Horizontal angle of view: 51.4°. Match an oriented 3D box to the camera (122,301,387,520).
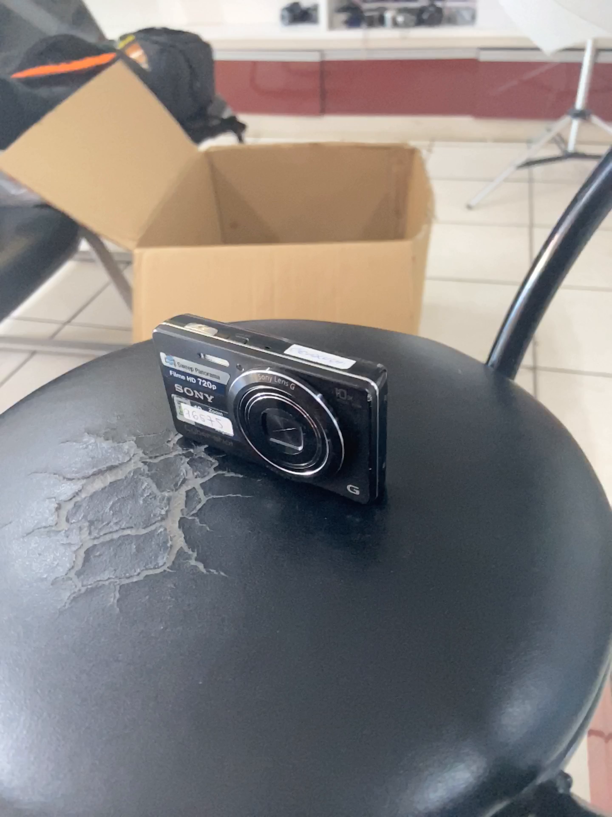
[{"bbox_3d":[-0.019,-0.002,0.236,0.097,0.051,0.024,19,43,26],"label":"camera"}]
